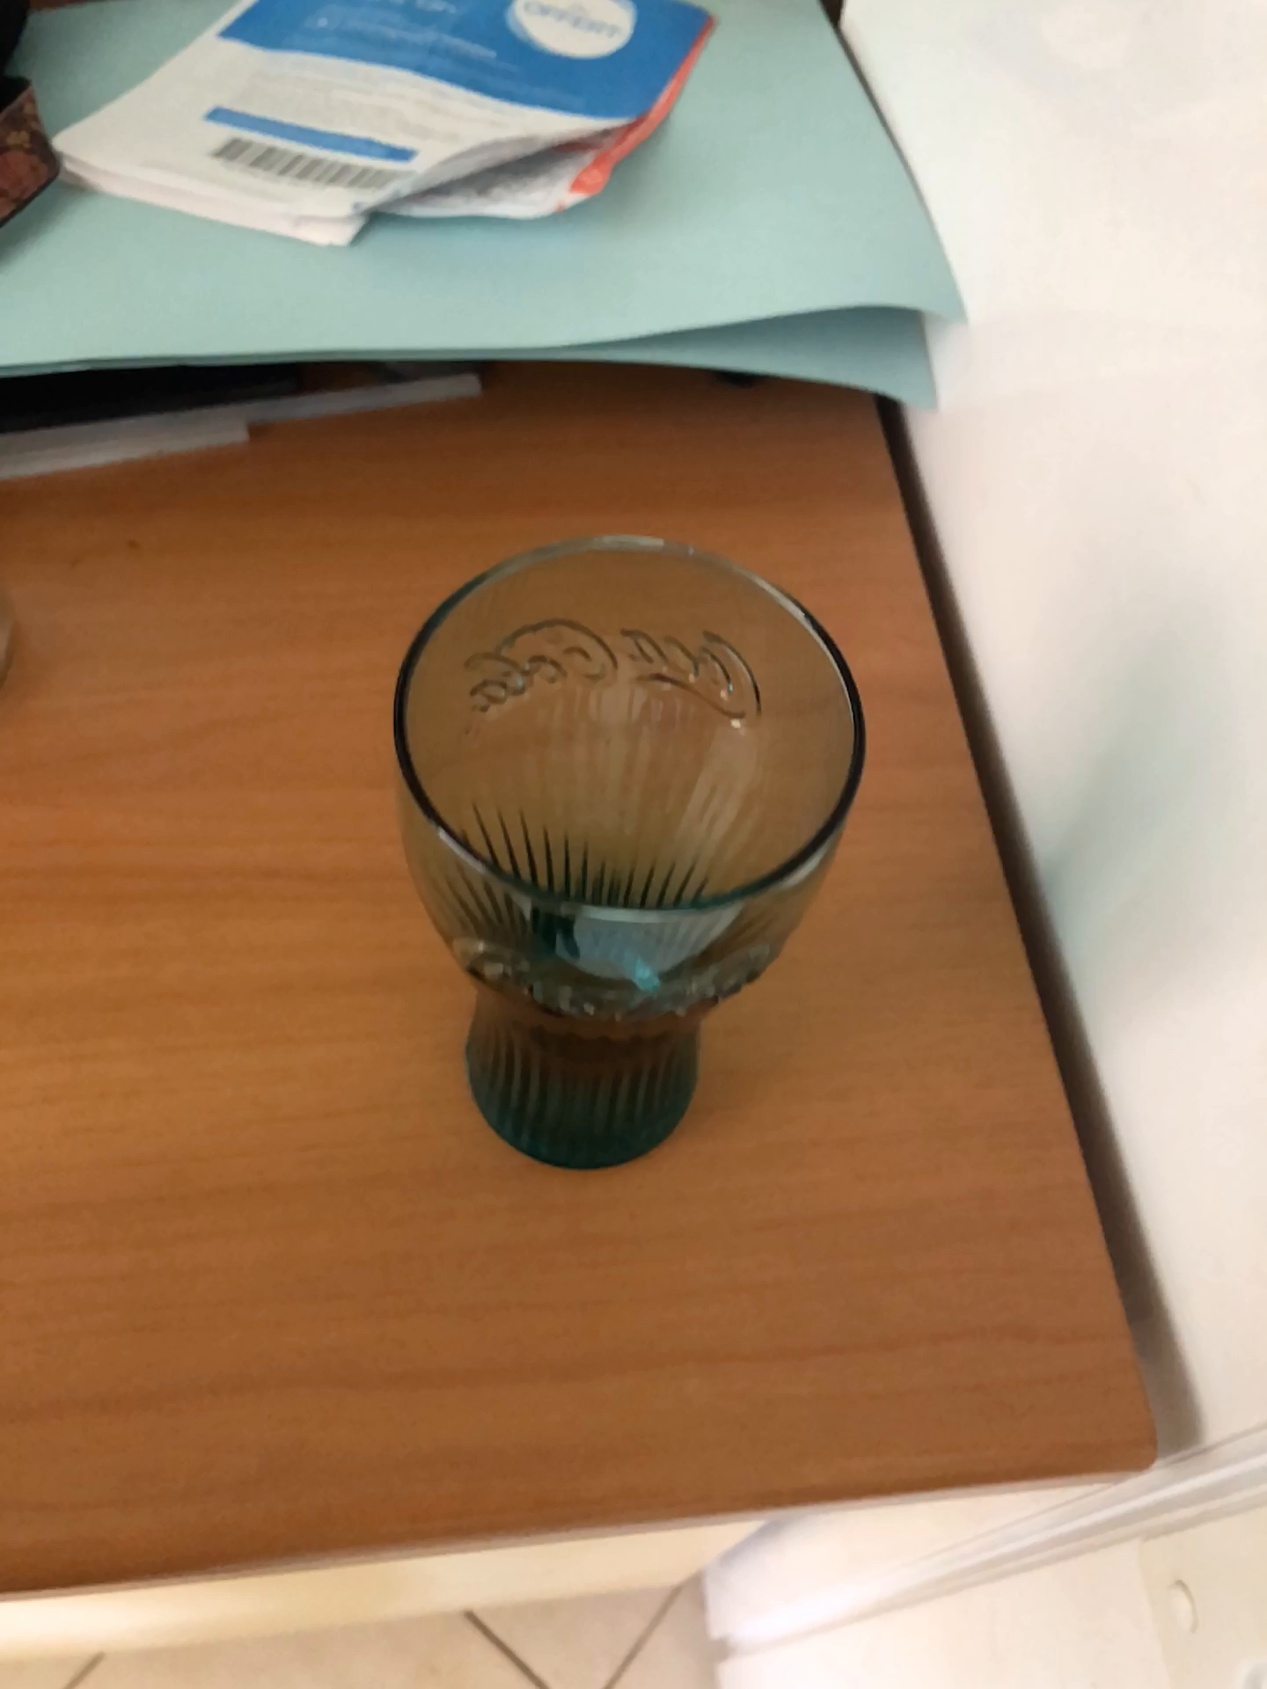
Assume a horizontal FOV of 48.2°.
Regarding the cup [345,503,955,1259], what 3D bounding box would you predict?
[{"bbox_3d":[-0.006,0.016,0.279,0.080,0.139,0.080,3,58,-5],"label":"cup"}]
